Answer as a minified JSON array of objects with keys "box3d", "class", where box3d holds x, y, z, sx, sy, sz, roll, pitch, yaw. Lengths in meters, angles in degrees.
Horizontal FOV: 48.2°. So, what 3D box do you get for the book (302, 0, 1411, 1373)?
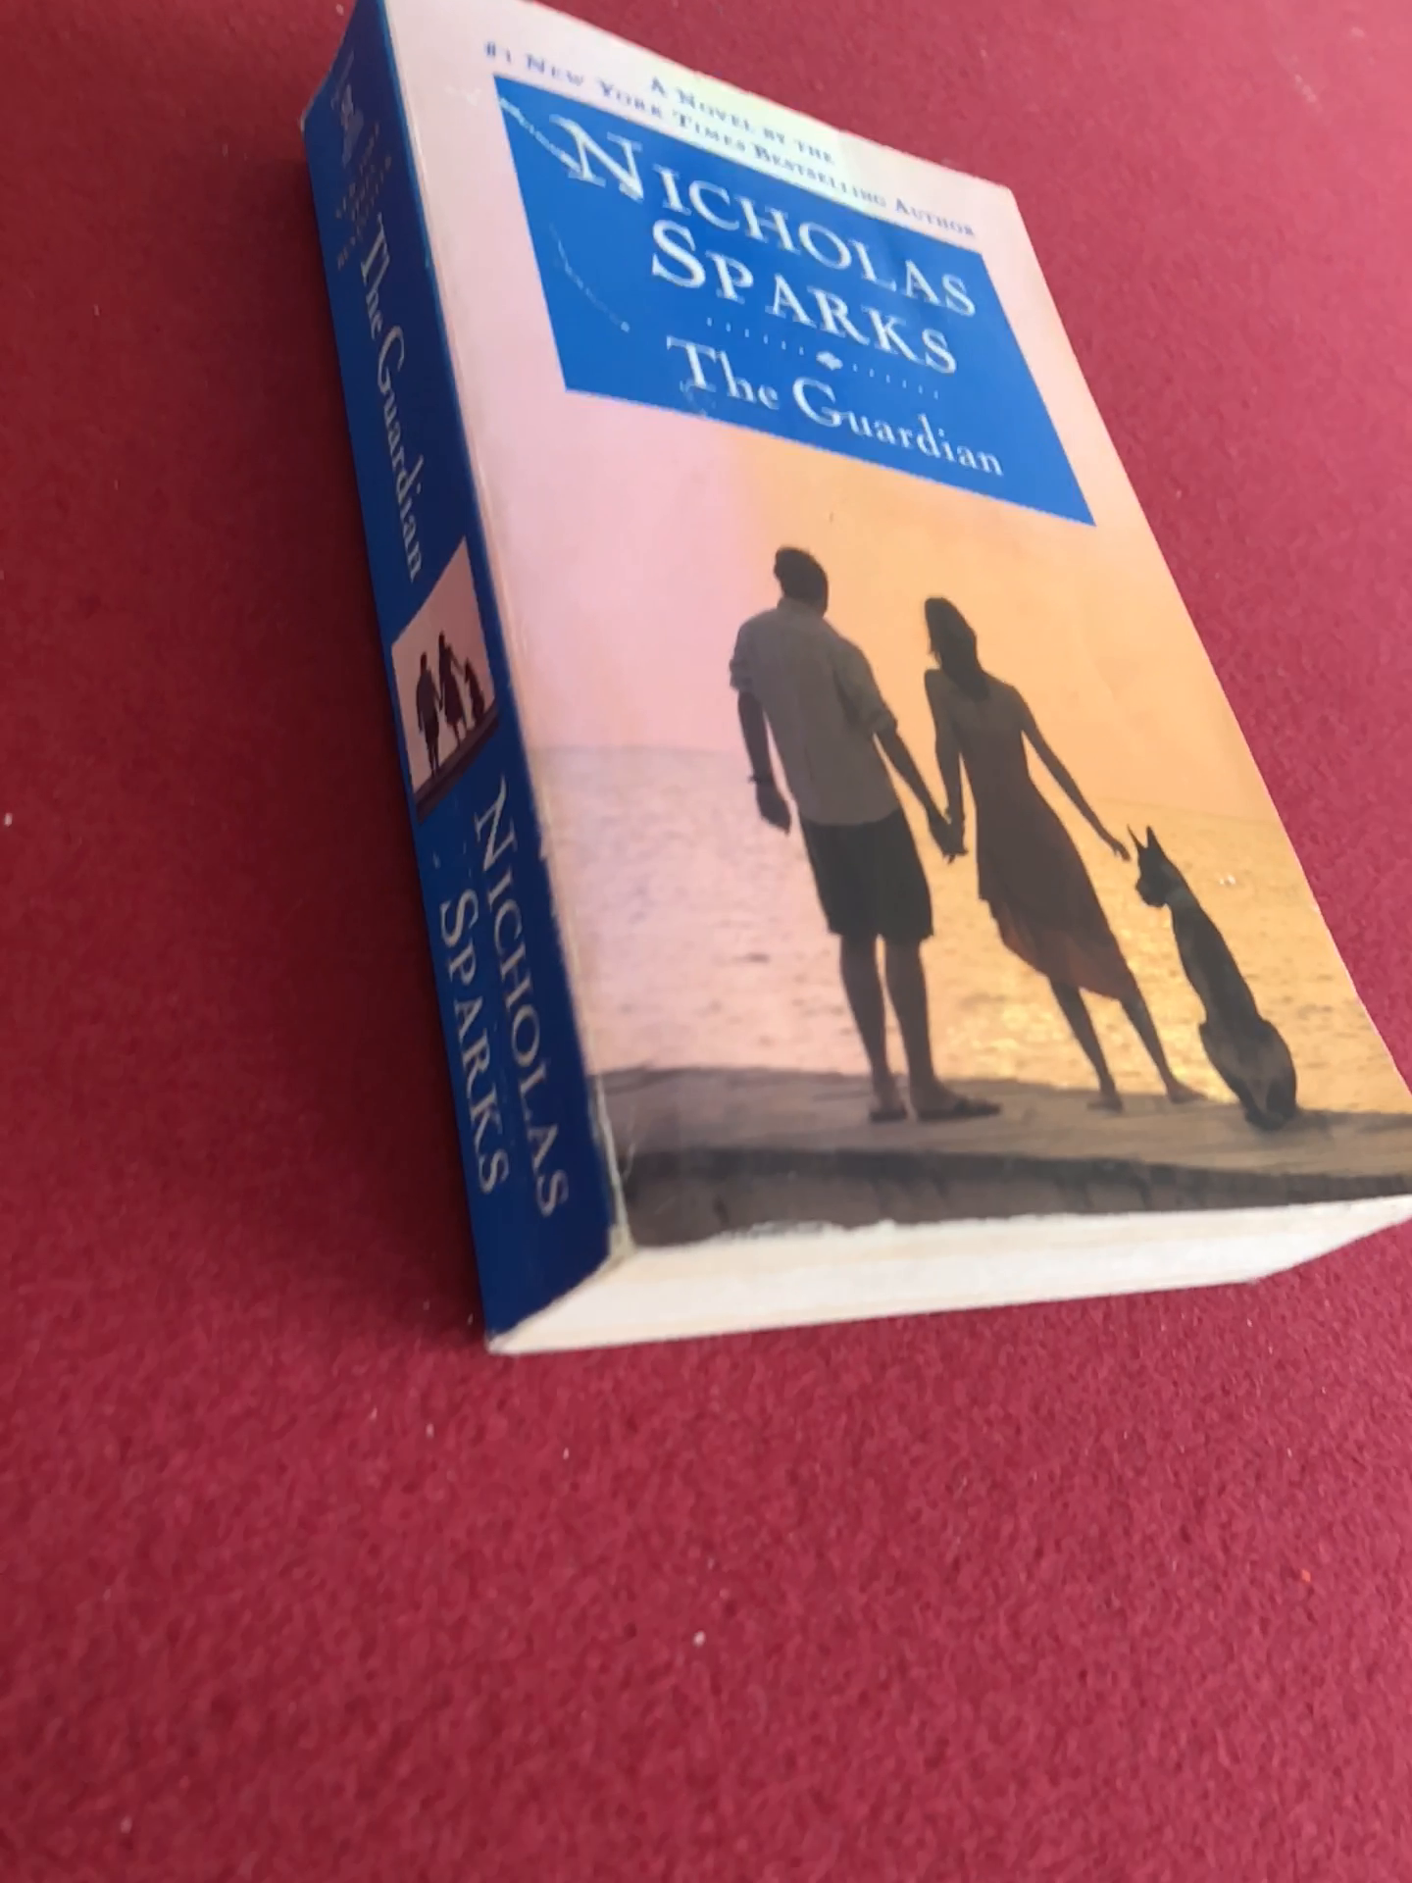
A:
[{"box3d":[0.017,-0.040,0.191,0.110,0.030,0.170,5,57,-31],"class":"book"}]
